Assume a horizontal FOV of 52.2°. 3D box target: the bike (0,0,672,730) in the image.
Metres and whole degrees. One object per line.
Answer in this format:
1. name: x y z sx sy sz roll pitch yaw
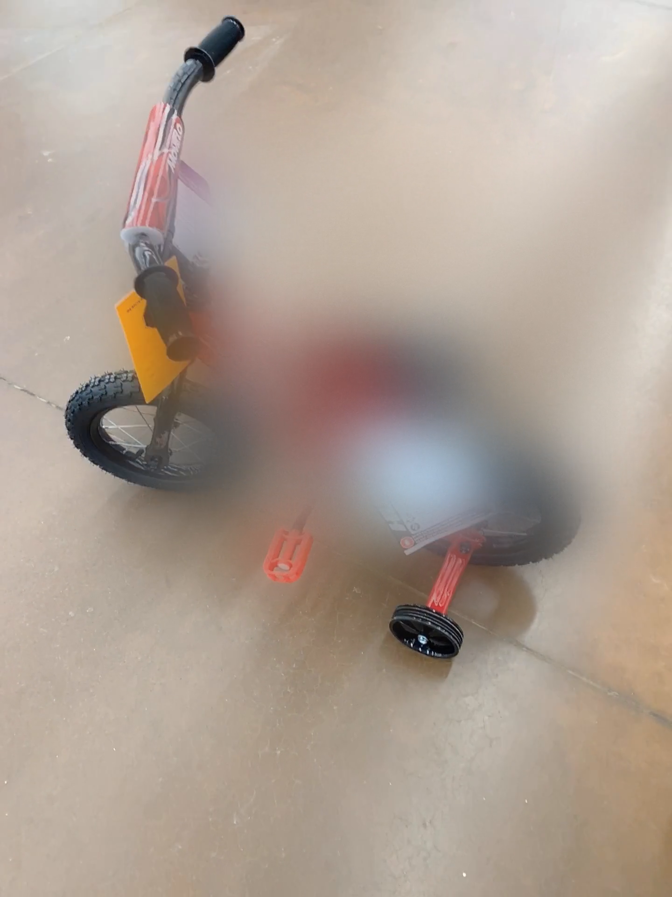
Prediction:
1. bike: -0.045 -0.091 0.781 0.735 0.605 0.441 13 53 8
